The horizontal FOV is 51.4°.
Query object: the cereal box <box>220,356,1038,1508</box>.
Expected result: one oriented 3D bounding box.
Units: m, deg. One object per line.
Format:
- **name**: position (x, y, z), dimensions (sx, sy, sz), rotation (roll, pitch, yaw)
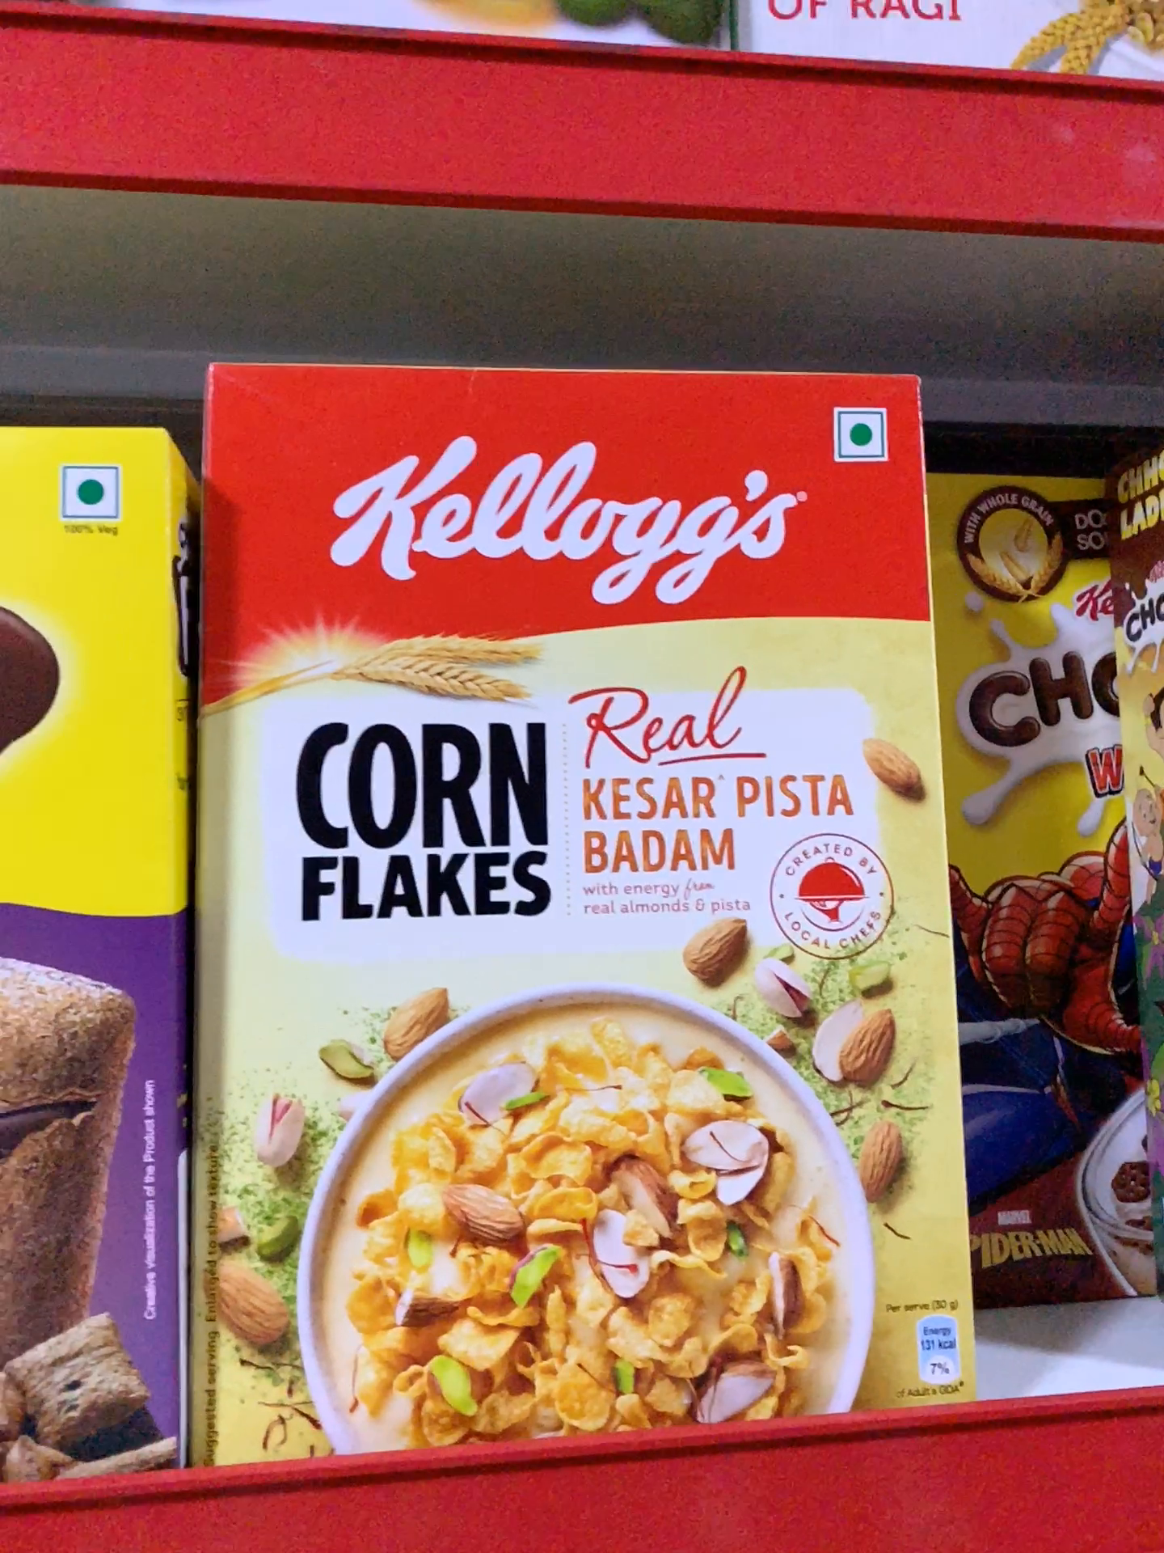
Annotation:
- **cereal box**: position (0.007, 0.030, 0.309), dimensions (0.180, 0.250, 0.070), rotation (-1, -5, -6)
